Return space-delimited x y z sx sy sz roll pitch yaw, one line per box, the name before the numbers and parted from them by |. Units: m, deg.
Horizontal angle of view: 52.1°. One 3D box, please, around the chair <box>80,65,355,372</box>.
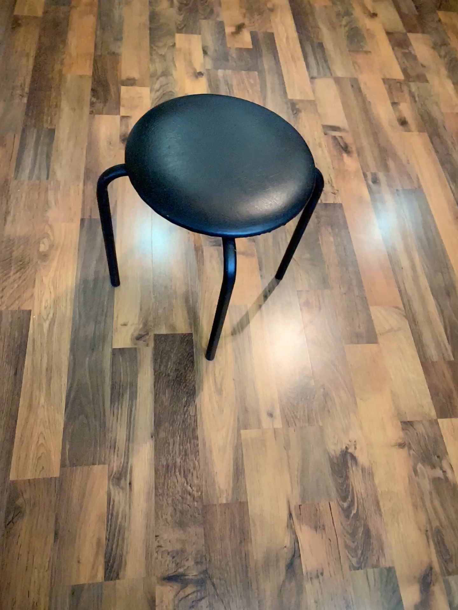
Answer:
chair | -0.033 -0.161 0.996 0.351 0.427 0.332 36 63 13
